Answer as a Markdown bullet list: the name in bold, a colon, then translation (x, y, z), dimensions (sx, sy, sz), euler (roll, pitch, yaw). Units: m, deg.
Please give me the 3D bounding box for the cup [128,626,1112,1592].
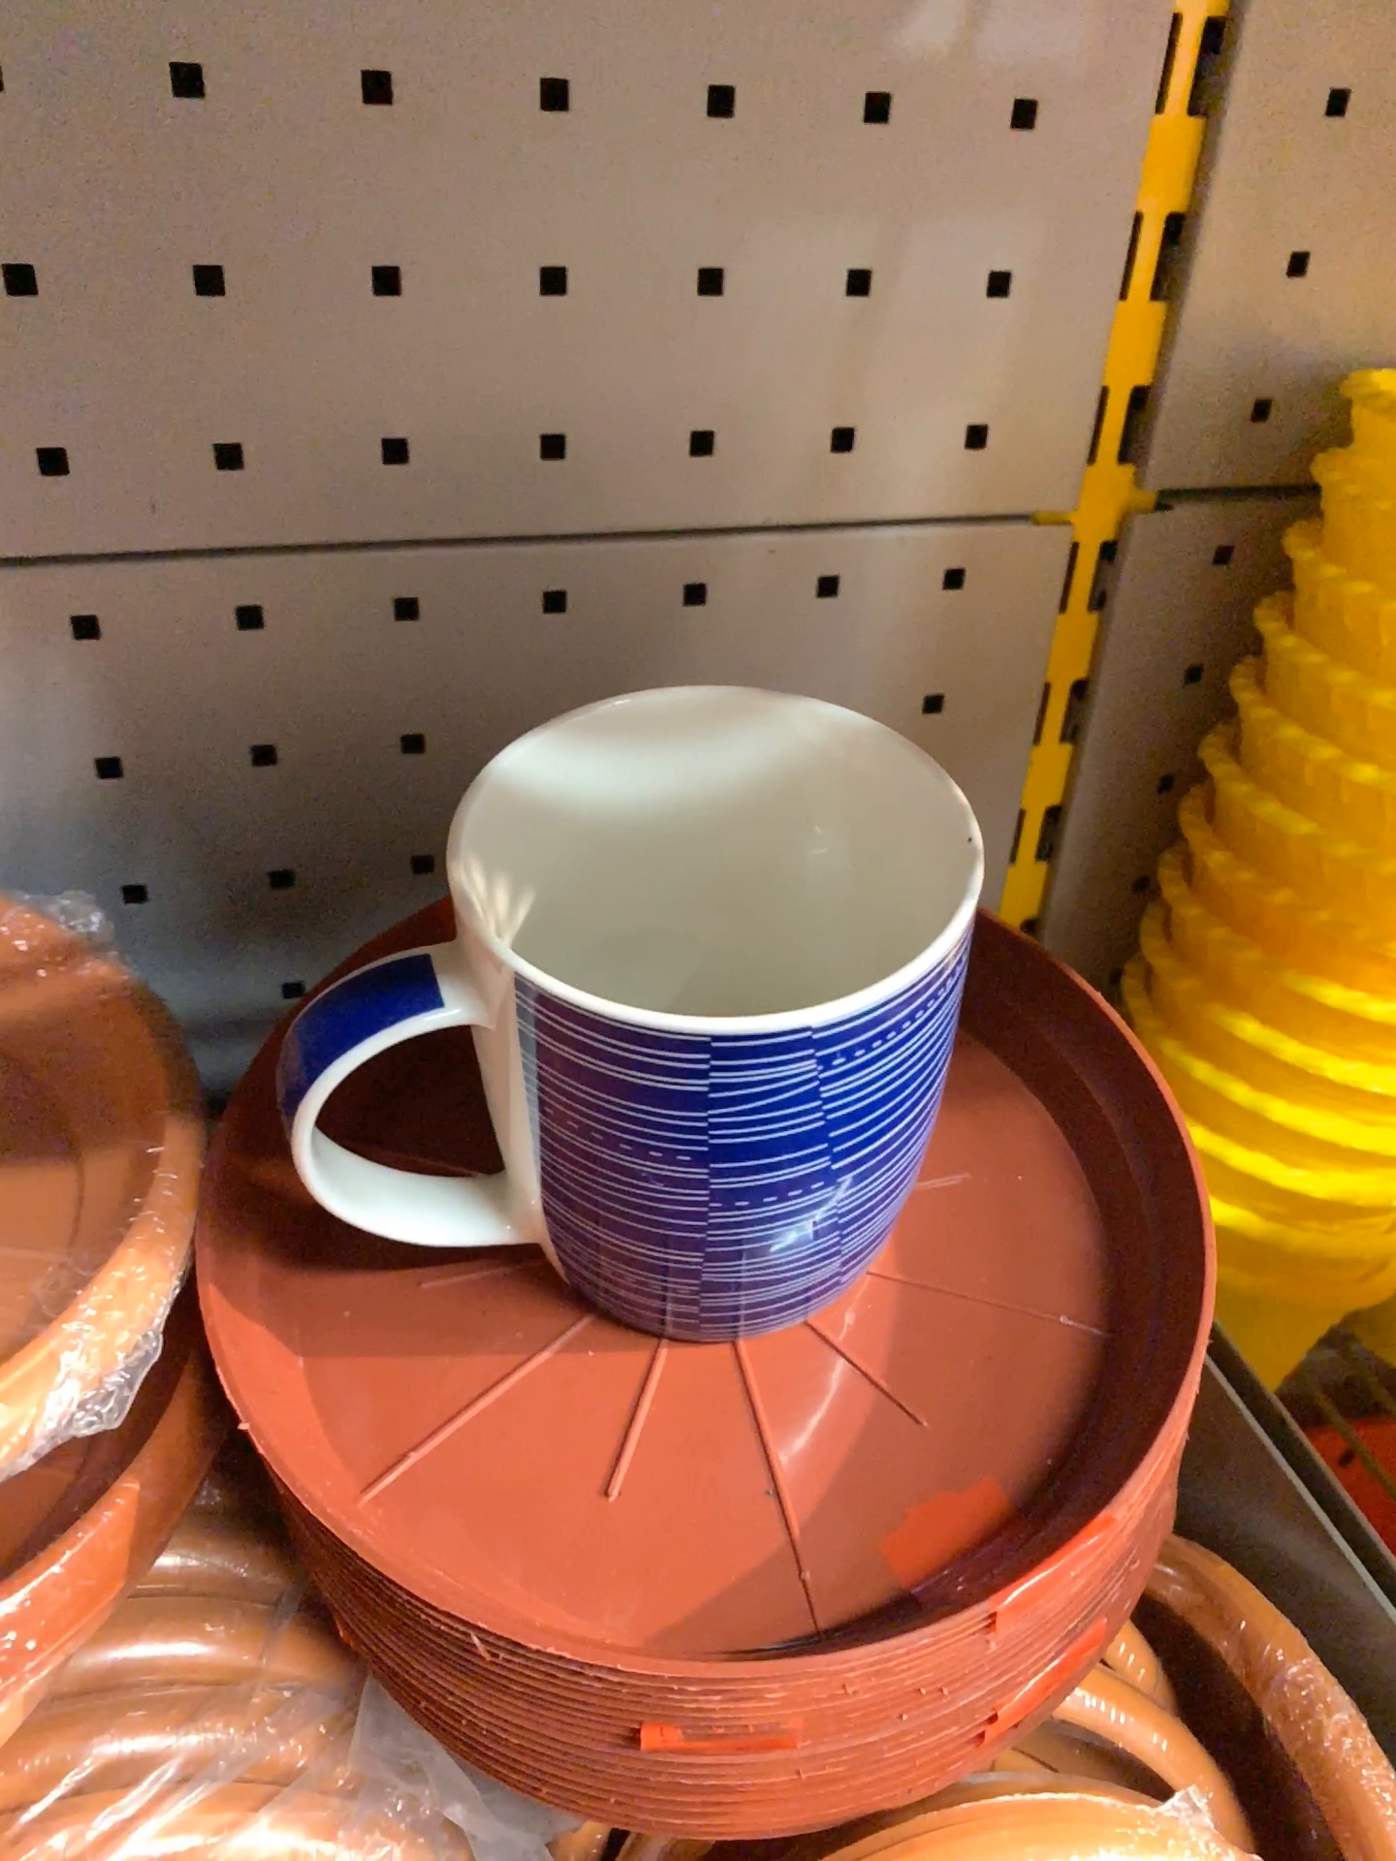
- **cup**: translation (-0.016, 0.024, 0.269), dimensions (0.130, 0.100, 0.100), euler (-19, 43, -22)
